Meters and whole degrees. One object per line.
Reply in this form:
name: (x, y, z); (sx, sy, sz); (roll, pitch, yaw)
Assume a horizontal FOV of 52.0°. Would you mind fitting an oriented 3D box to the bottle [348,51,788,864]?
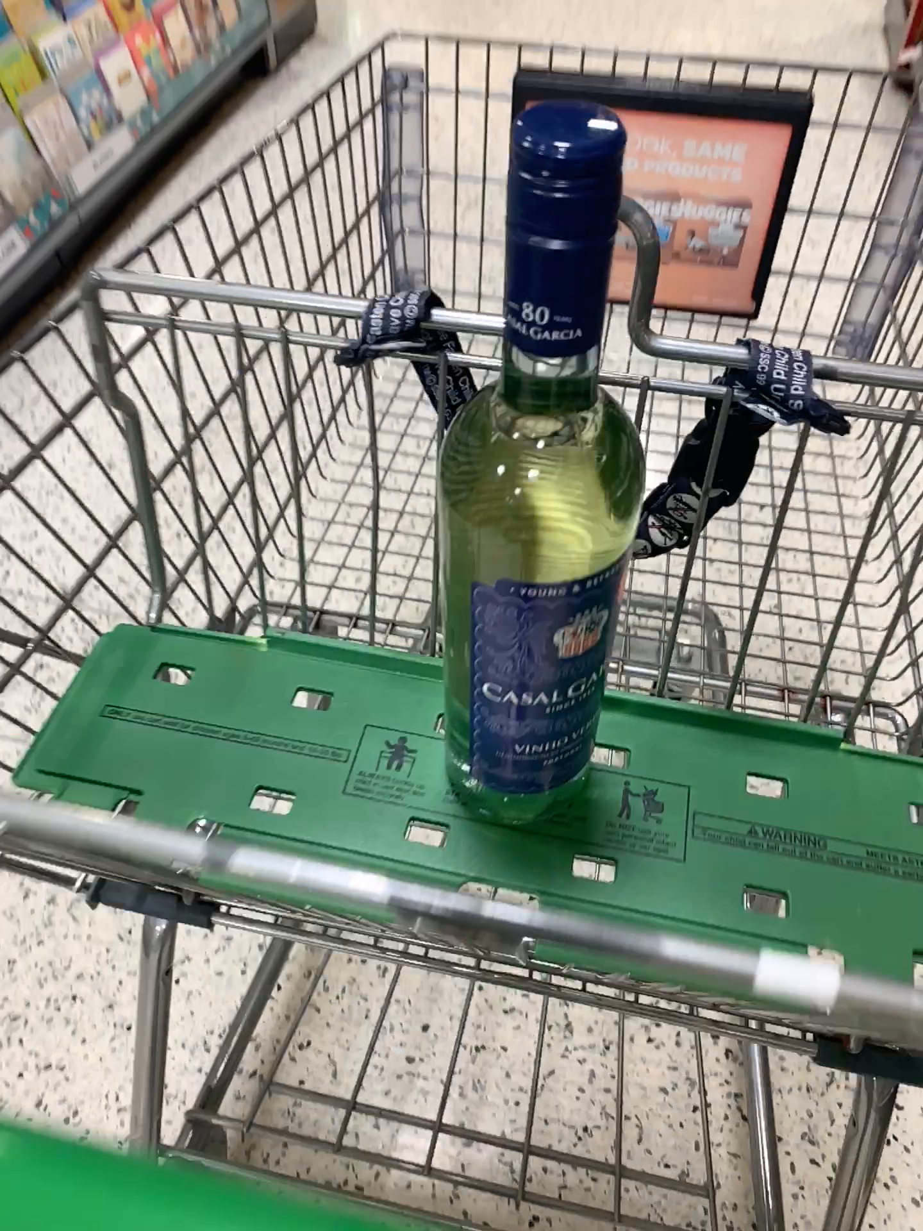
bottle: (0.025, -0.026, 0.352); (0.080, 0.298, 0.080); (0, 49, 0)
